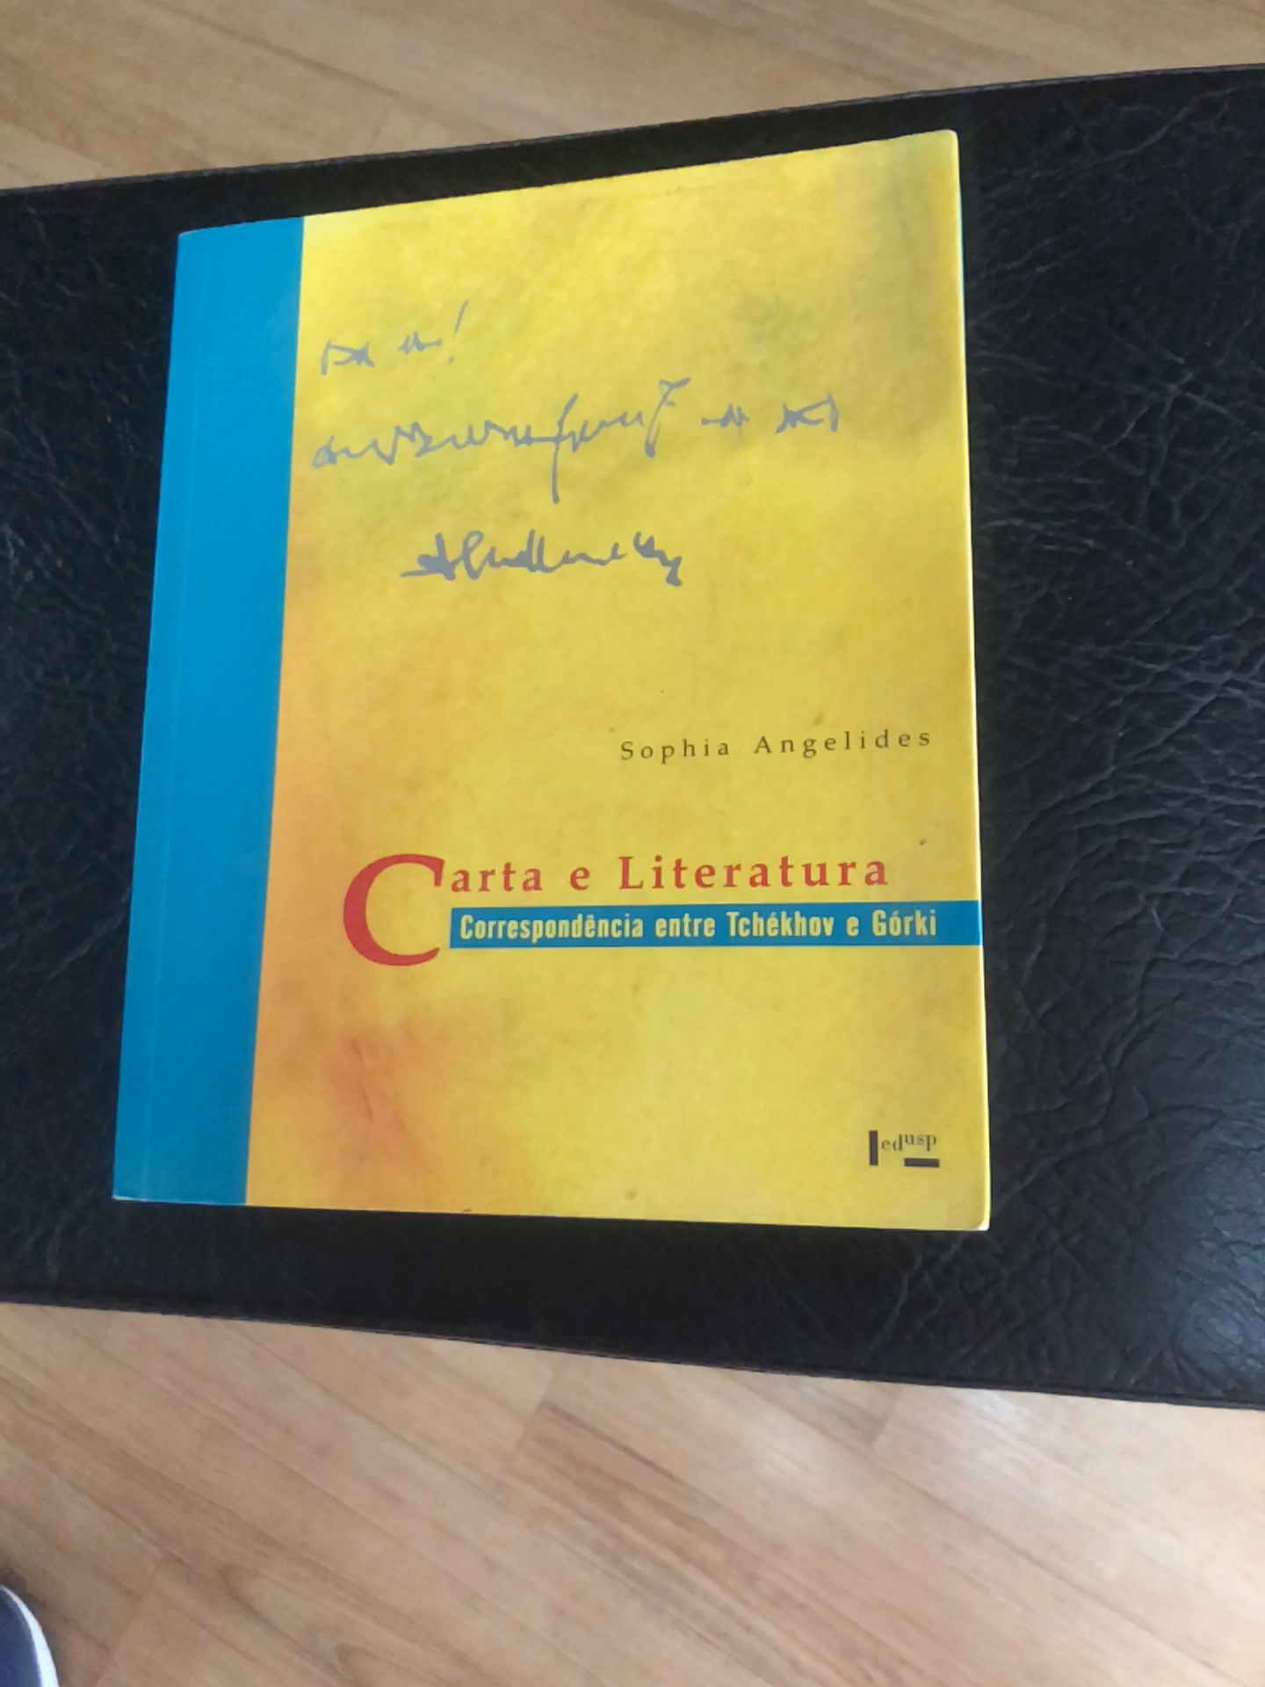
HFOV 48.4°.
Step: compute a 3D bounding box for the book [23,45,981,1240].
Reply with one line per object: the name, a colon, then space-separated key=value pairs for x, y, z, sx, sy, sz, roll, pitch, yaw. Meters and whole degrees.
book: x=-0.025 y=-0.037 z=0.268 sx=0.173 sy=0.024 sz=0.208 roll=-1 pitch=81 yaw=14
